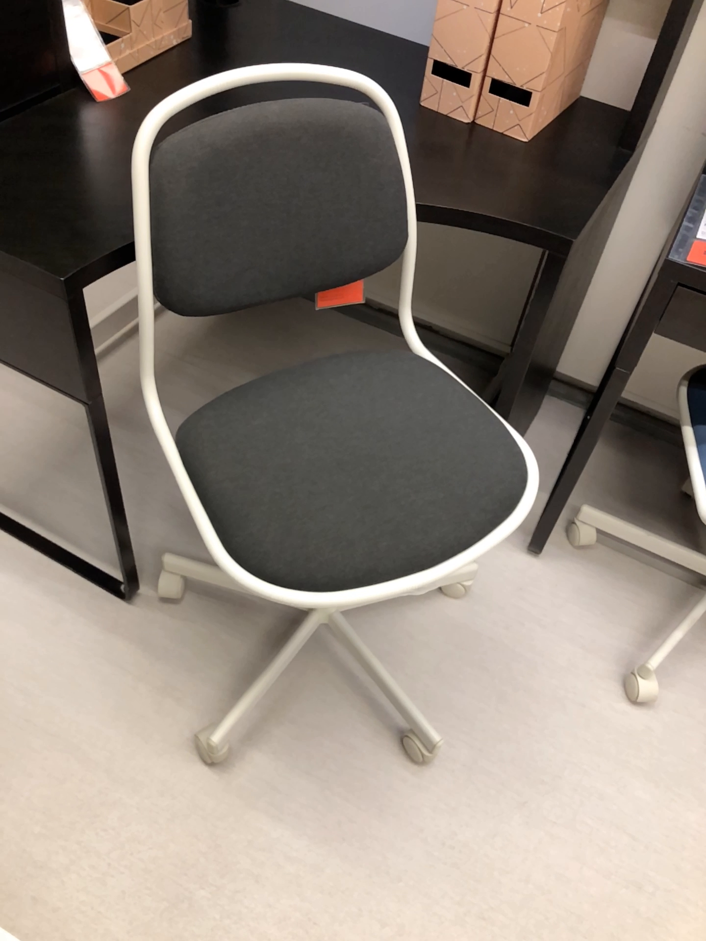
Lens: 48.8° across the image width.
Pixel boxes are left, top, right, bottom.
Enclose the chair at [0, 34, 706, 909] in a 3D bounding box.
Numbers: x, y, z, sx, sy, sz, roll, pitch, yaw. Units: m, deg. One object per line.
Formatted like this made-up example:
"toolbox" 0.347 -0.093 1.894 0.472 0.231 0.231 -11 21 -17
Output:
"chair" -0.028 0.019 1.104 0.662 0.904 0.622 -23 55 -26
